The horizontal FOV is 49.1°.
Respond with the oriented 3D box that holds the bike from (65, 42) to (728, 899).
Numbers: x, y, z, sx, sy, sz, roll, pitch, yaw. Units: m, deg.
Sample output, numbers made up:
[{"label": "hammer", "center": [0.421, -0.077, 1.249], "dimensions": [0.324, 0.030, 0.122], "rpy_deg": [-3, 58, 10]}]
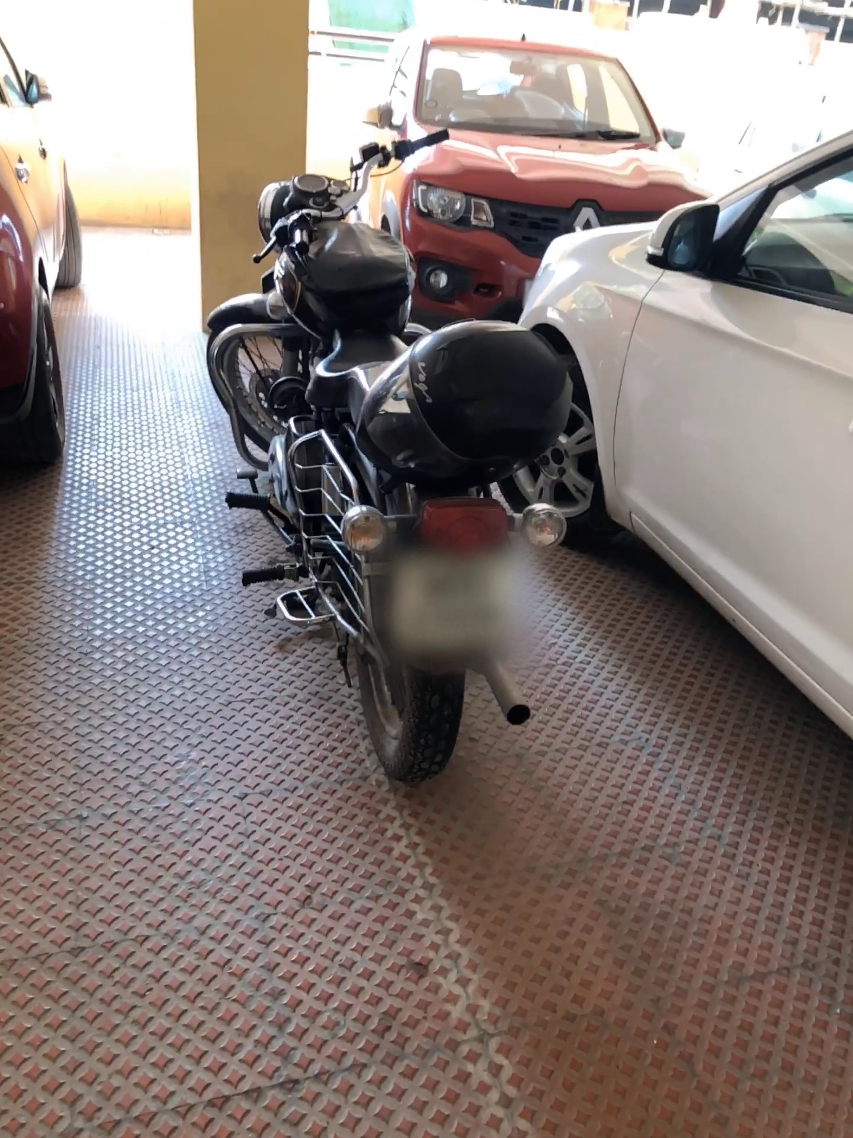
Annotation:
[{"label": "bike", "center": [-0.318, -0.414, 2.212], "dimensions": [0.692, 1.216, 1.793], "rpy_deg": [-8, 34, -23]}]
